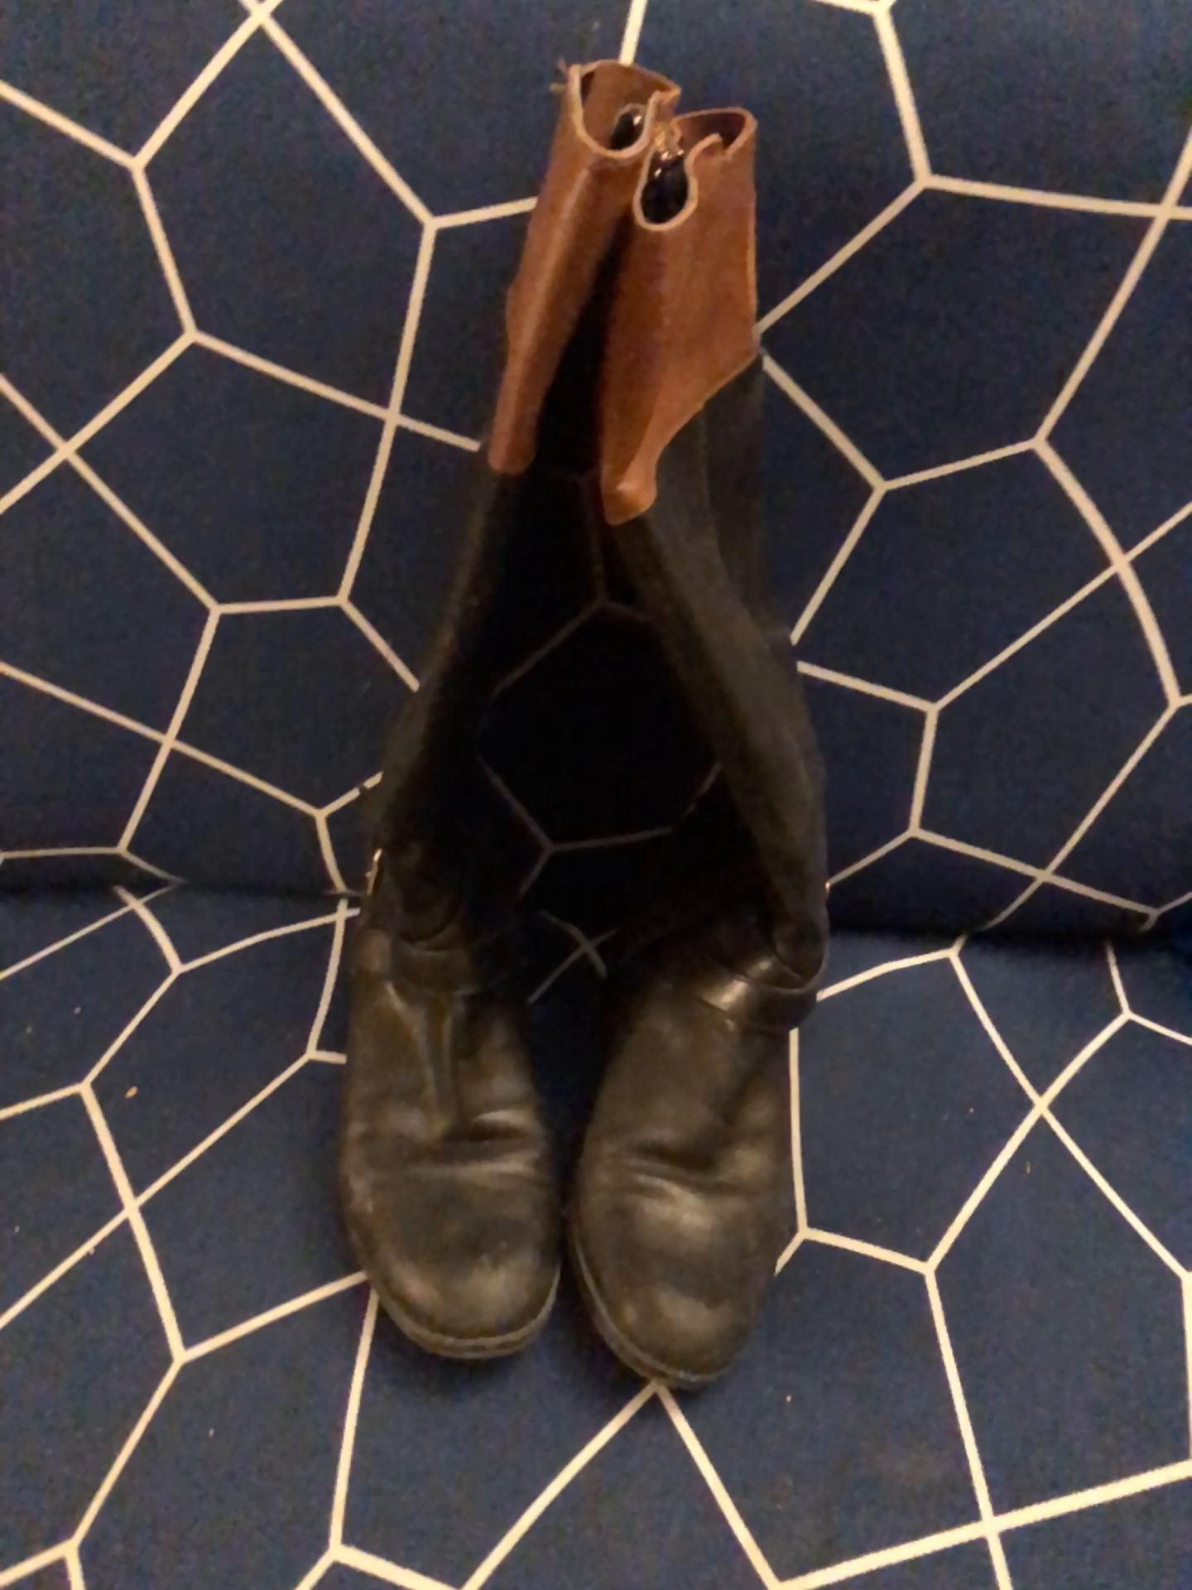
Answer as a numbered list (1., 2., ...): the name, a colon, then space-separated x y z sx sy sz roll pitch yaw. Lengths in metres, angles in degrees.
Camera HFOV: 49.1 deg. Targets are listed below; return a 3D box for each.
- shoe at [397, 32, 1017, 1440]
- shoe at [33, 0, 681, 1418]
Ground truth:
1. shoe: 0.039 -0.002 0.428 0.100 0.378 0.251 8 44 8
2. shoe: -0.046 -0.011 0.465 0.110 0.427 0.272 4 42 0
